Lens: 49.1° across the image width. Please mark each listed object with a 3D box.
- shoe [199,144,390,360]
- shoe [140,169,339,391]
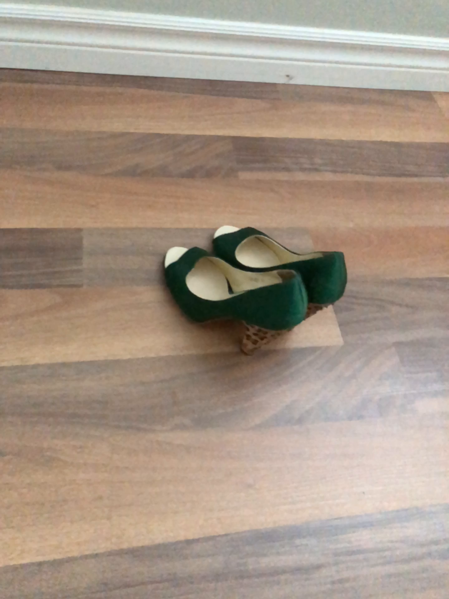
[{"bbox_3d":[0.070,-0.059,0.594,0.090,0.130,0.210,-25,65,-25],"label":"shoe"},{"bbox_3d":[0.004,-0.023,0.568,0.090,0.130,0.210,-35,69,-28],"label":"shoe"}]
